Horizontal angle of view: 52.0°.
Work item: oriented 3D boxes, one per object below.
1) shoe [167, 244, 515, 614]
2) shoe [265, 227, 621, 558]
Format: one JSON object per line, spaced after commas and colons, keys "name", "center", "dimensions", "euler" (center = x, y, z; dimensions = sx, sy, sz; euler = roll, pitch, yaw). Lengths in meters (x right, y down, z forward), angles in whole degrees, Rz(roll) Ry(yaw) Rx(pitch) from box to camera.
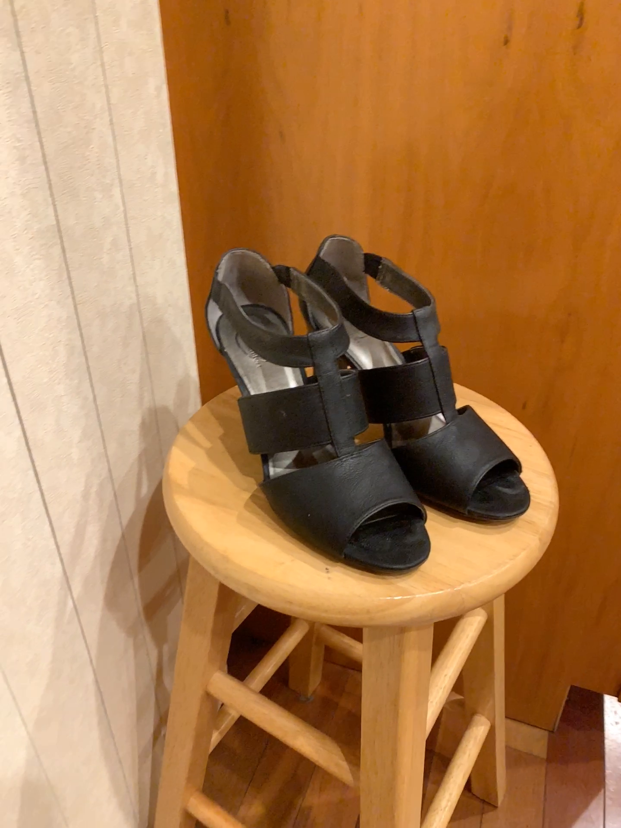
{"name": "shoe", "center": [0.001, -0.011, 0.426], "dimensions": [0.090, 0.125, 0.245], "euler": [-19, 38, -27]}
{"name": "shoe", "center": [0.074, -0.034, 0.462], "dimensions": [0.100, 0.130, 0.234], "euler": [-21, 38, -29]}
